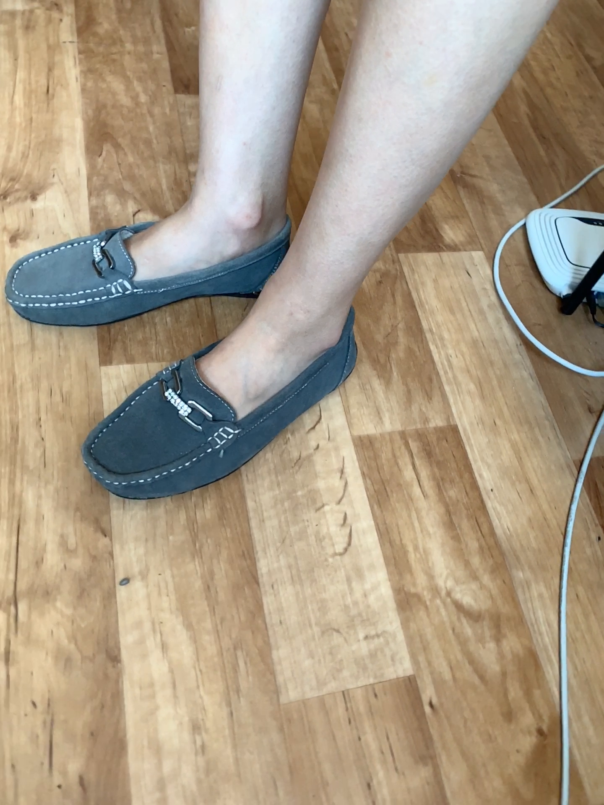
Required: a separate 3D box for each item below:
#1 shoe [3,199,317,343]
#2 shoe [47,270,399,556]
[{"bbox_3d":[-0.118,-0.116,0.531,0.240,0.060,0.090,-7,60,-17],"label":"shoe"},{"bbox_3d":[-0.052,-0.001,0.473,0.240,0.060,0.100,-32,73,-26],"label":"shoe"}]
